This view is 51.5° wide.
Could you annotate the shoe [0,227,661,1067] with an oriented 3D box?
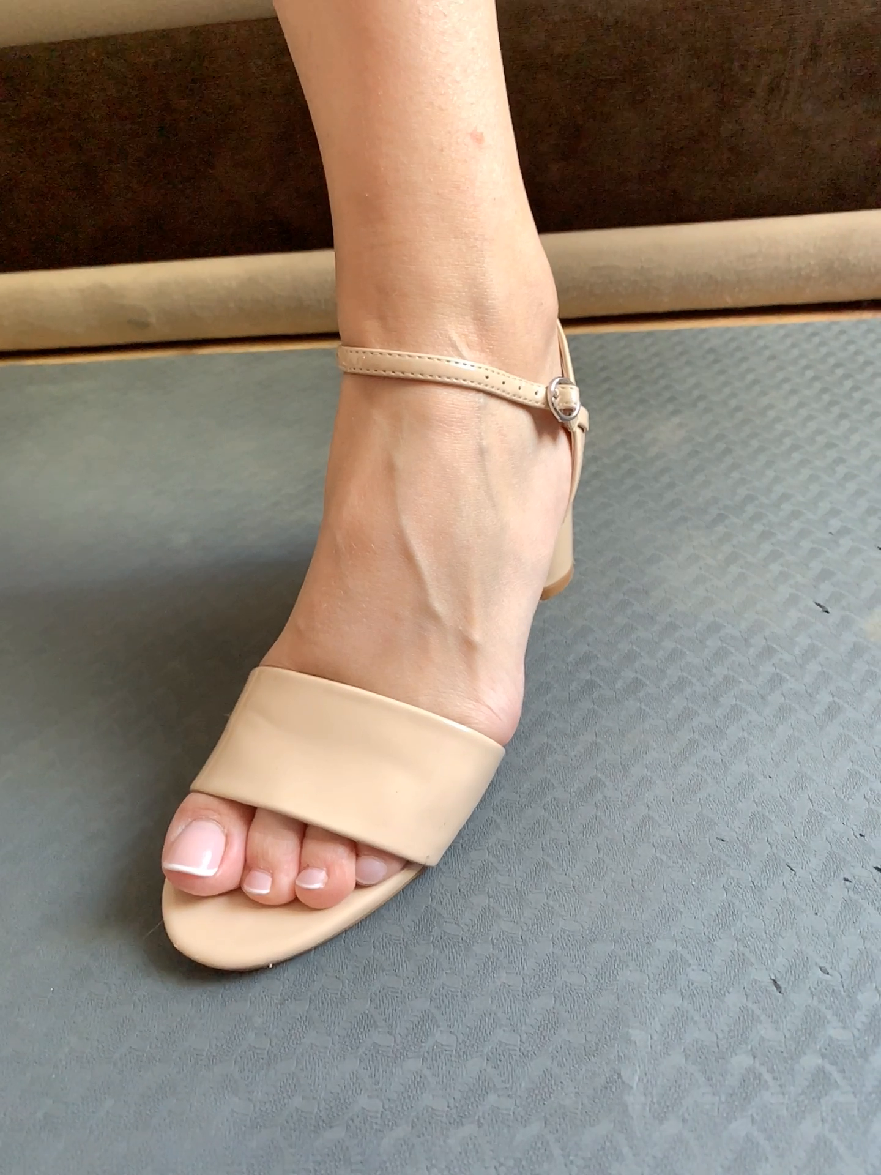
[{"bbox_3d":[-0.014,-0.014,0.287,0.090,0.119,0.251,13,40,25],"label":"shoe"}]
